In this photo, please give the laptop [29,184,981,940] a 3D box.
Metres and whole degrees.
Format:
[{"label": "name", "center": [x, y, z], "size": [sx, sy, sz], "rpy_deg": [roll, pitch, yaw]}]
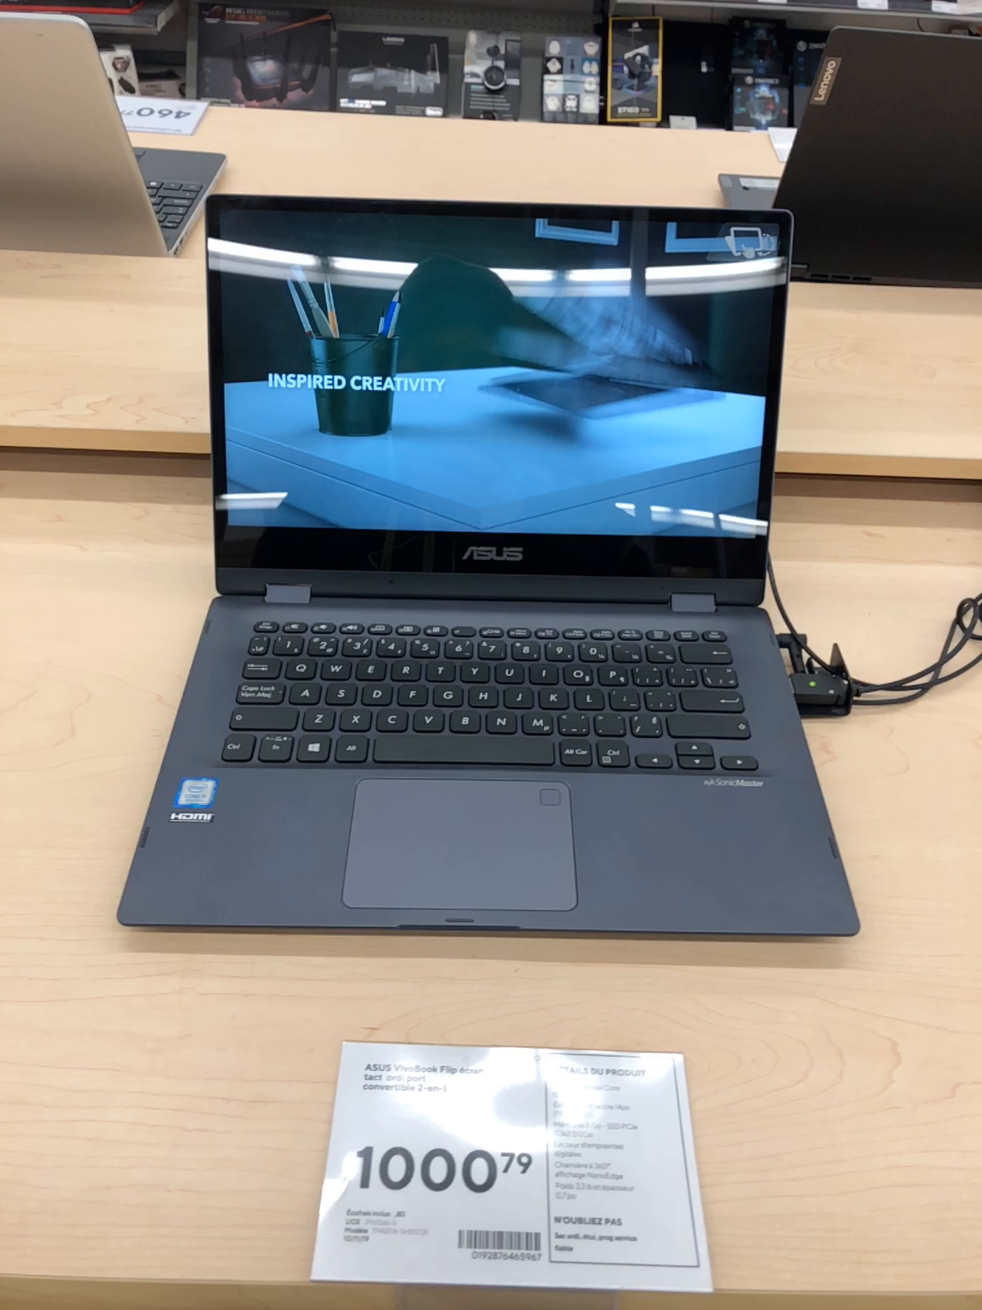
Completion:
[{"label": "laptop", "center": [0.002, -0.065, 0.536], "size": [0.319, 0.184, 0.332], "rpy_deg": [2, 44, -1]}]
